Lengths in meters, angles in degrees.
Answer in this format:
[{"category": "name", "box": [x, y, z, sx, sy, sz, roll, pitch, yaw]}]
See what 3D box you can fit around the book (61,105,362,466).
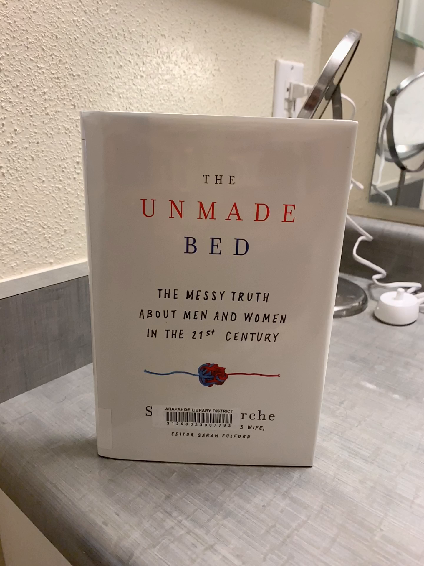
[{"category": "book", "box": [-0.004, 0.009, 0.270, 0.152, 0.214, 0.033, 2, 18, 0]}]
